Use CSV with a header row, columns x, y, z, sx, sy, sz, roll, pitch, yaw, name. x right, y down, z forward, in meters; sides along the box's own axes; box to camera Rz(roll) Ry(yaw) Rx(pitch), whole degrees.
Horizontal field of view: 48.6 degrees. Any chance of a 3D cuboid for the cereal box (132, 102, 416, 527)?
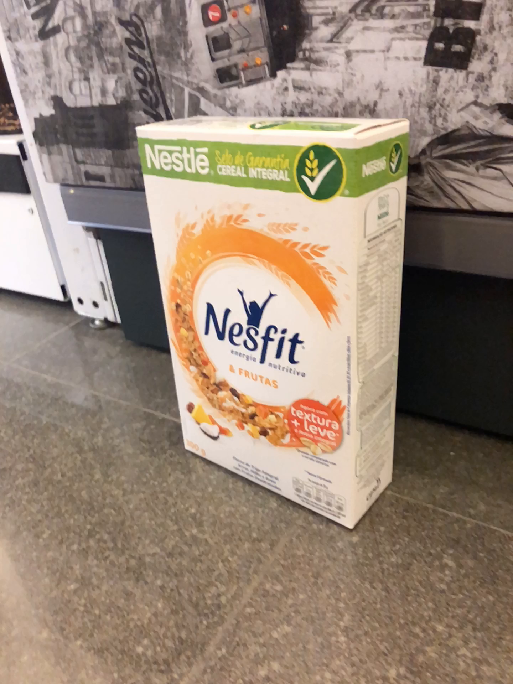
x,y,z,sx,sy,sz,roll,pitch,yaw,name
0.016,-0.021,0.380,0.150,0.248,0.070,16,34,36,cereal box
